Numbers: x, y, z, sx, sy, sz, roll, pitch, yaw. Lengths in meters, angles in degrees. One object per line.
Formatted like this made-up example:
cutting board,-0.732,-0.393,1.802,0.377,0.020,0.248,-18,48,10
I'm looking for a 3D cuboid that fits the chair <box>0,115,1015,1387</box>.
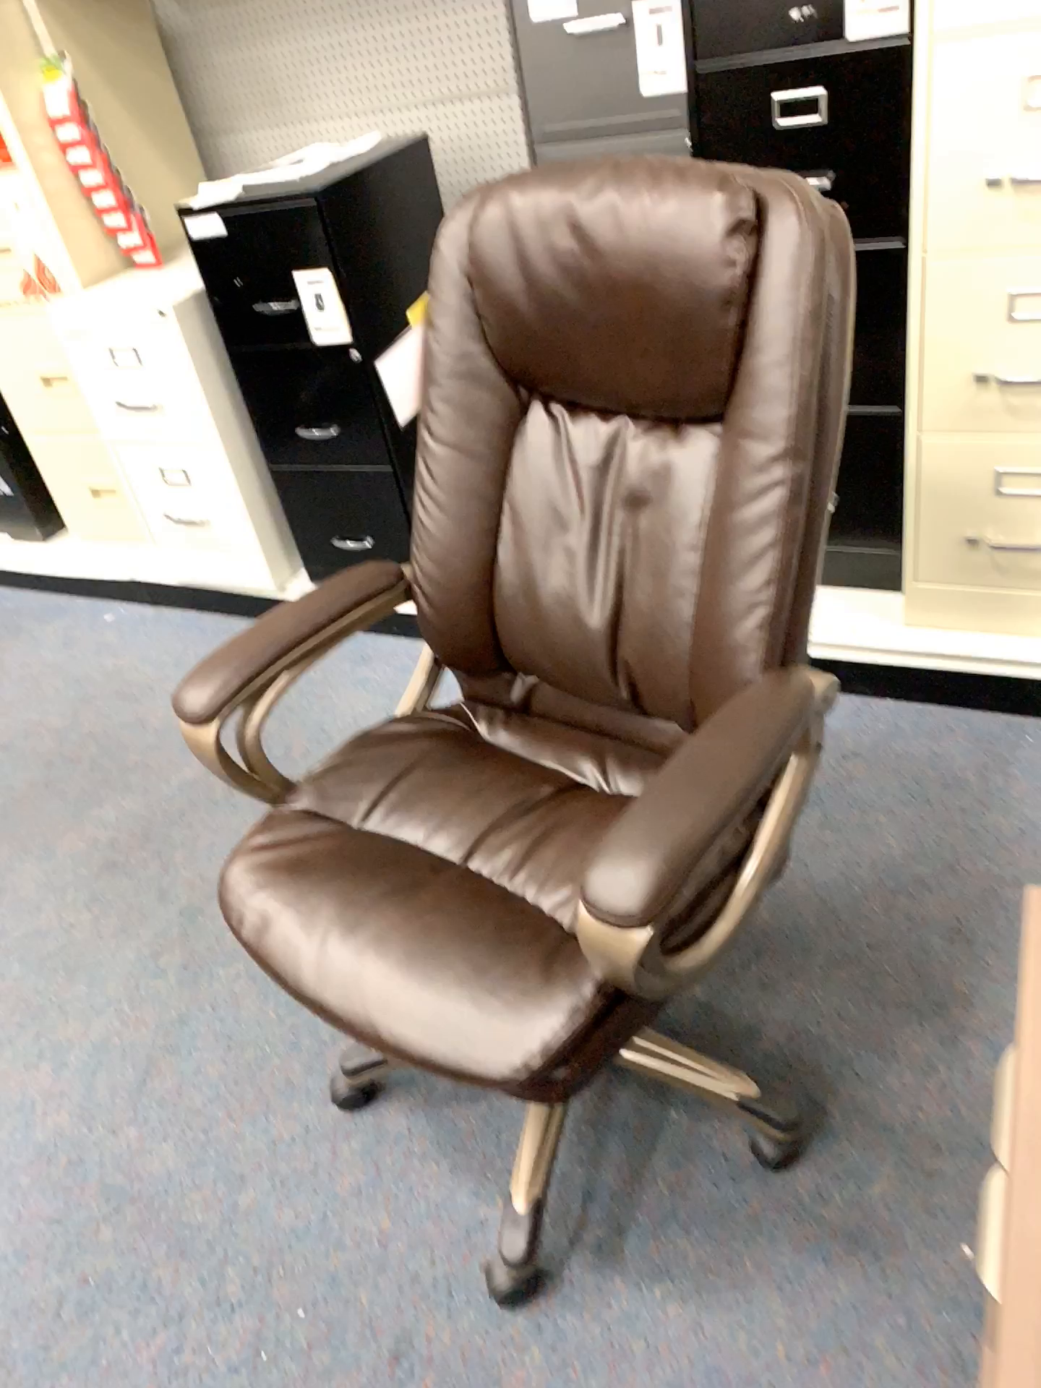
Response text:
chair,0.008,0.044,1.269,0.727,1.112,0.812,21,47,38
